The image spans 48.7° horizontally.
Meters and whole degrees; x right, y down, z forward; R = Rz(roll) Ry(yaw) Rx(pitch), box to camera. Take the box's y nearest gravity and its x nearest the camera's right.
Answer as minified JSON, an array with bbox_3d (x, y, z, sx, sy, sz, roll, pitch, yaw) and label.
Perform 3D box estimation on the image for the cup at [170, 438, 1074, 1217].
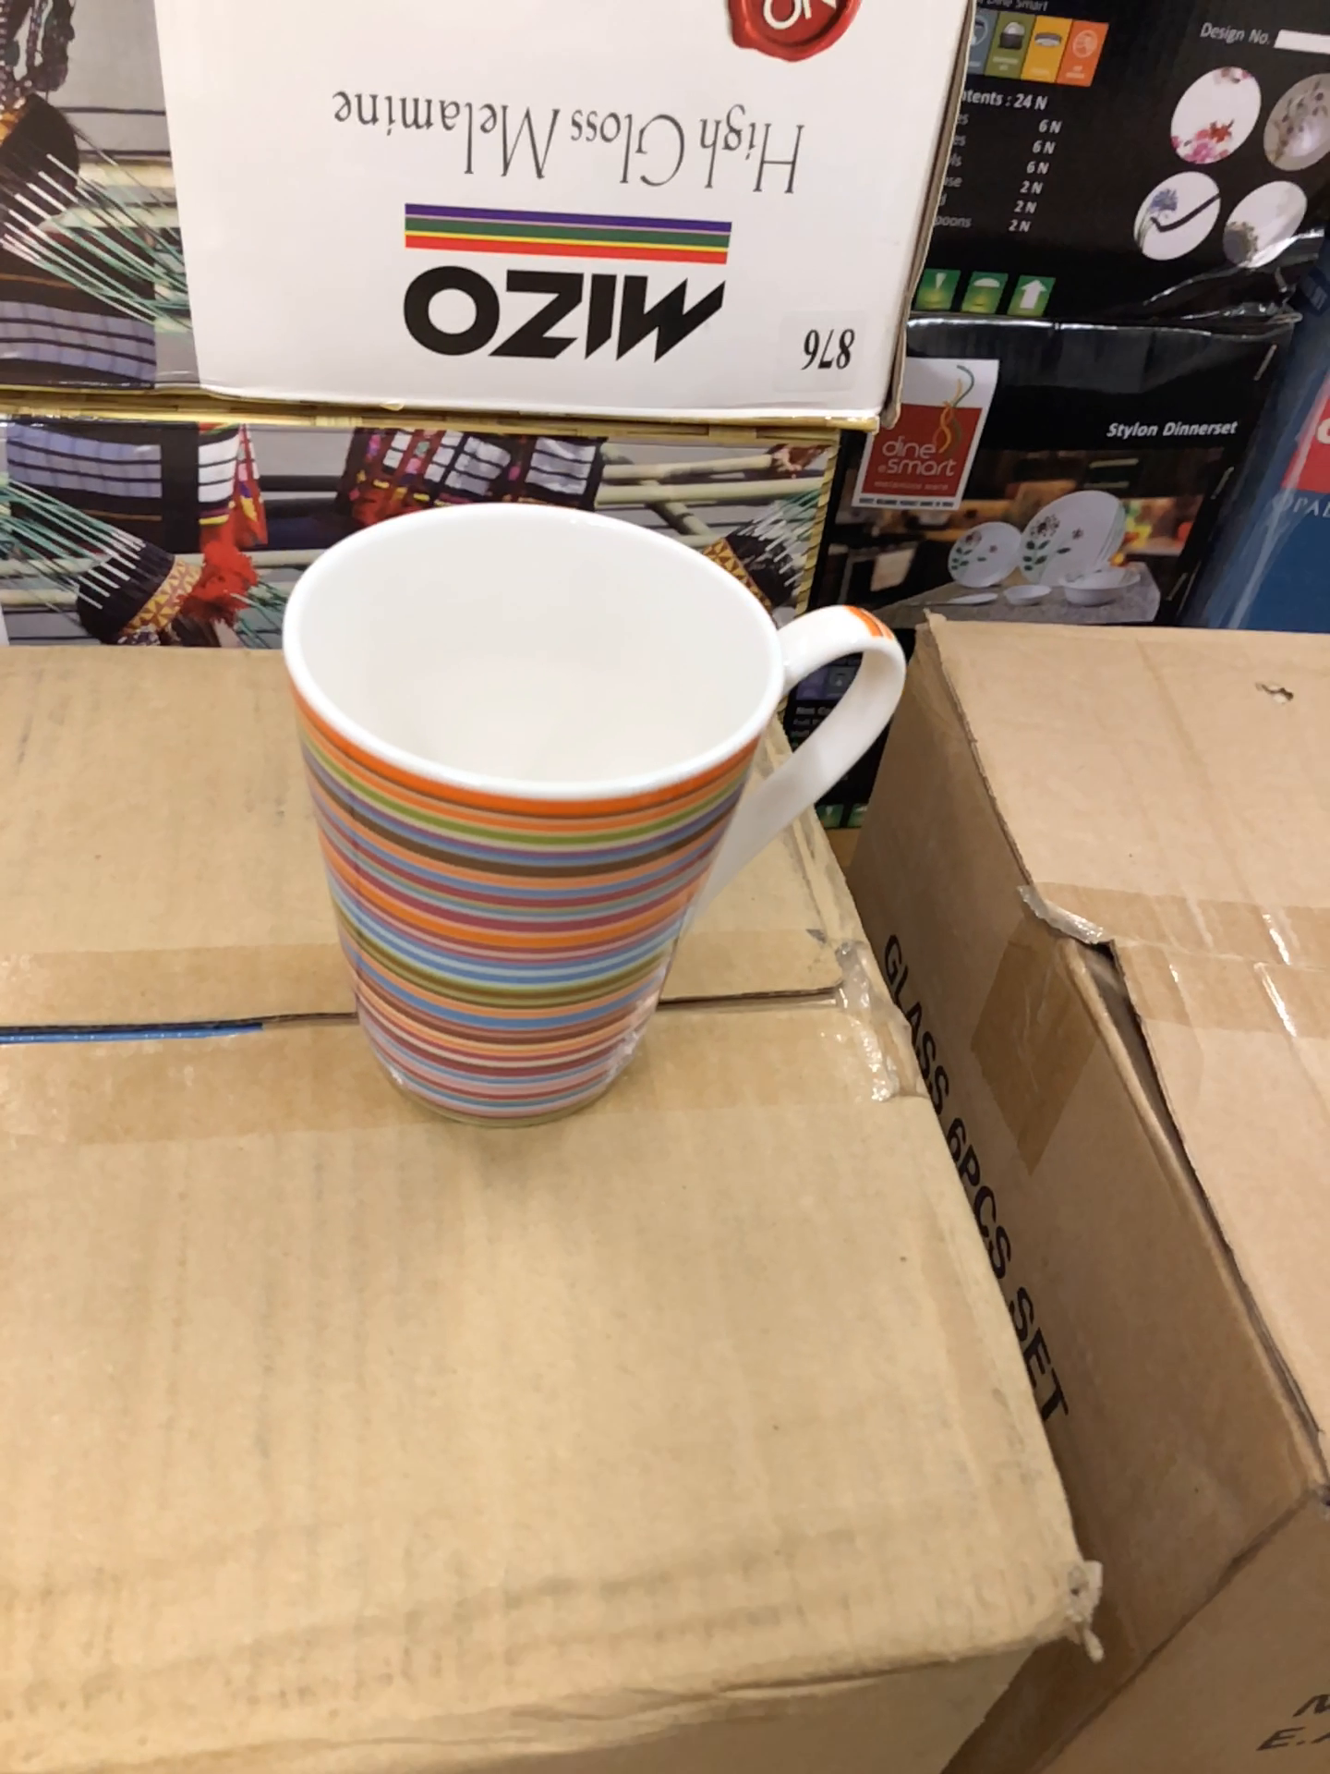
[{"bbox_3d":[-0.012,-0.017,0.276,0.130,0.089,0.080,-15,48,-25],"label":"cup"}]
